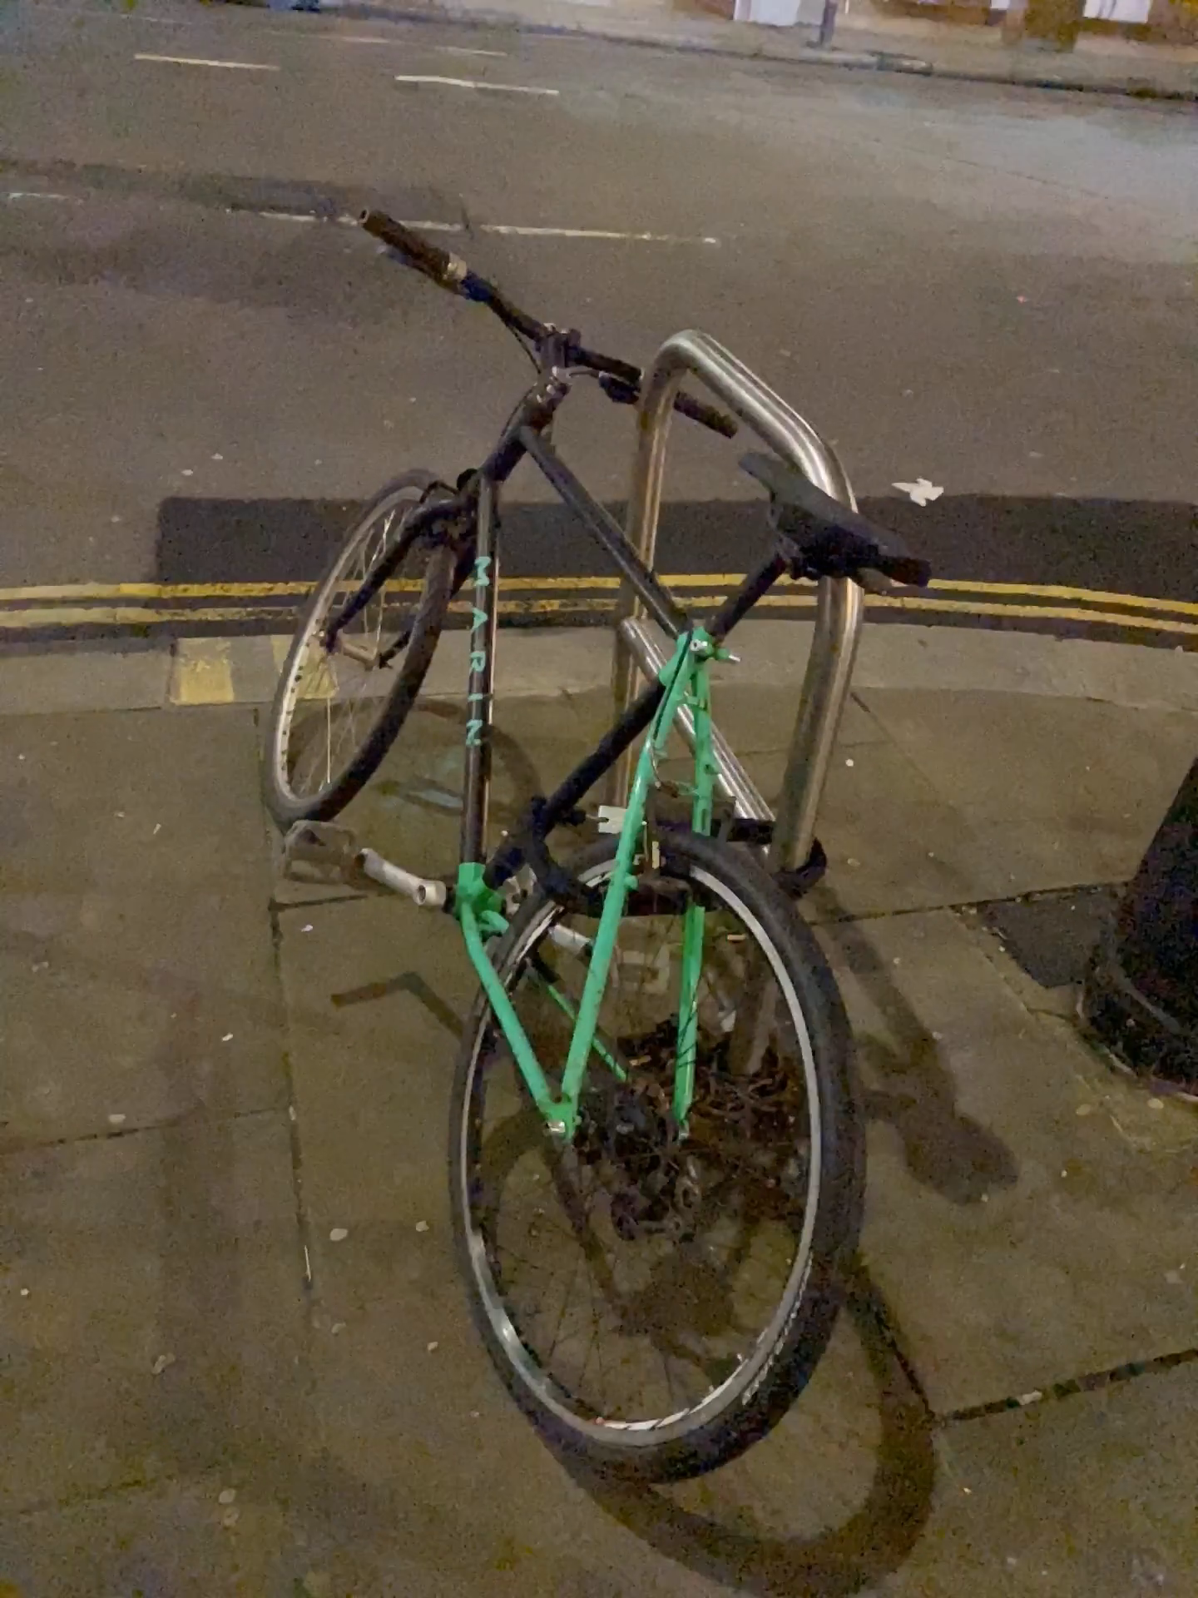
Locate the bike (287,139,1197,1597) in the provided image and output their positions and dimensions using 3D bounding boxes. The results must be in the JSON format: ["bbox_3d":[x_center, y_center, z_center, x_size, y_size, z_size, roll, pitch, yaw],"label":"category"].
[{"bbox_3d":[0.091,-0.165,1.648,0.639,1.014,1.694,-10,39,-20],"label":"bike"}]
